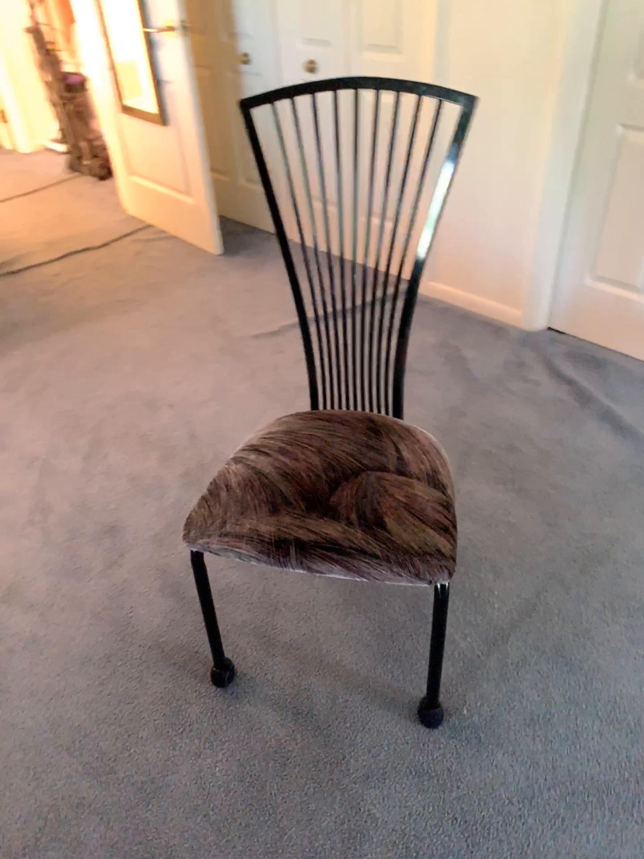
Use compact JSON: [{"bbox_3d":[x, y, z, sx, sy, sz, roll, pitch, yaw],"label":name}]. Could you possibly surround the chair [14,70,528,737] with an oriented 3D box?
[{"bbox_3d":[0.010,-0.015,1.140,0.510,0.974,0.543,4,39,10],"label":"chair"}]
